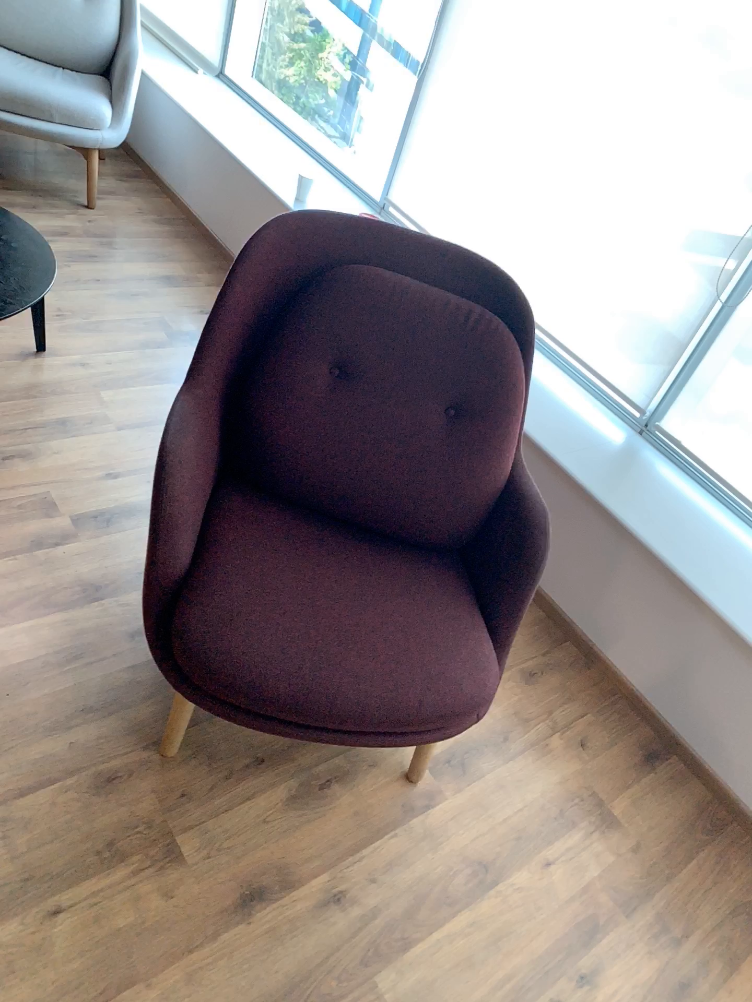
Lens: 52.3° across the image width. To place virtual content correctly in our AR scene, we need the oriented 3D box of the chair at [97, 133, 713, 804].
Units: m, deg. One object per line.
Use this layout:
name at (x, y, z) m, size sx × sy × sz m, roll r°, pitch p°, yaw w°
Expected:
chair at (-0.046, -0.011, 1.426) m, size 0.690 × 0.932 × 0.635 m, roll 13°, pitch 39°, yaw -12°
